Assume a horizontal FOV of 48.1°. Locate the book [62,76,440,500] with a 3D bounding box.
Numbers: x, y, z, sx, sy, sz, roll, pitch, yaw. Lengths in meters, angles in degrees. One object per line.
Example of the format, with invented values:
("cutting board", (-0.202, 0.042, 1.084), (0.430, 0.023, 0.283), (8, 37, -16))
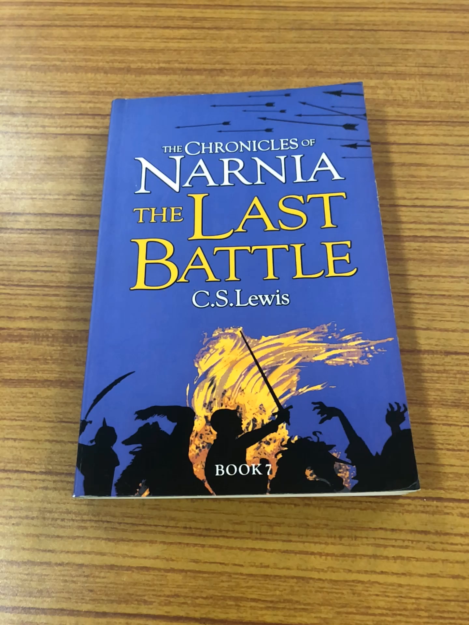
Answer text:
("book", (0.005, -0.020, 0.246), (0.140, 0.030, 0.200), (-1, 68, 2))
